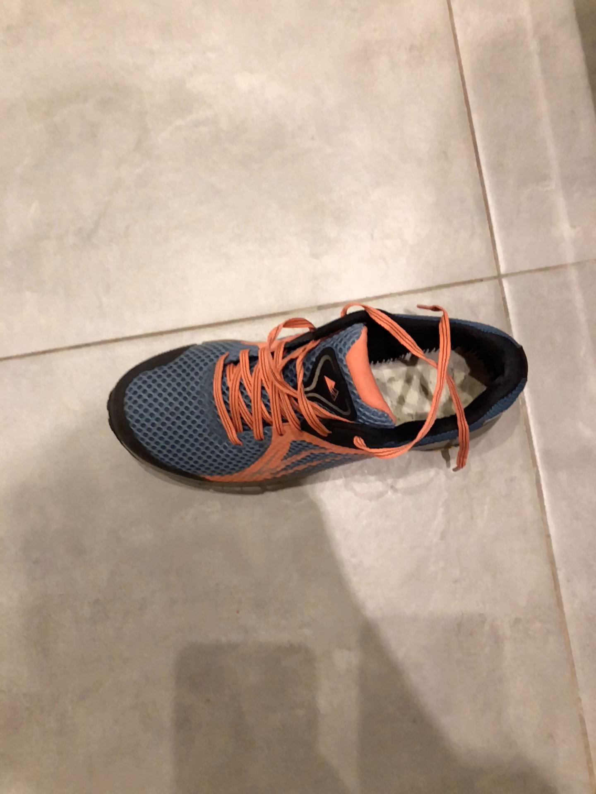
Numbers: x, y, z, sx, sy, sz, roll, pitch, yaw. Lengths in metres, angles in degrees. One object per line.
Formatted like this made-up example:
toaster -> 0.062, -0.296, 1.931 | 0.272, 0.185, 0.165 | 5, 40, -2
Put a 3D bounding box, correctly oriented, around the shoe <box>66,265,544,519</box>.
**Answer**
shoe -> 0.003, -0.002, 0.403 | 0.250, 0.090, 0.110 | -7, 87, -1
